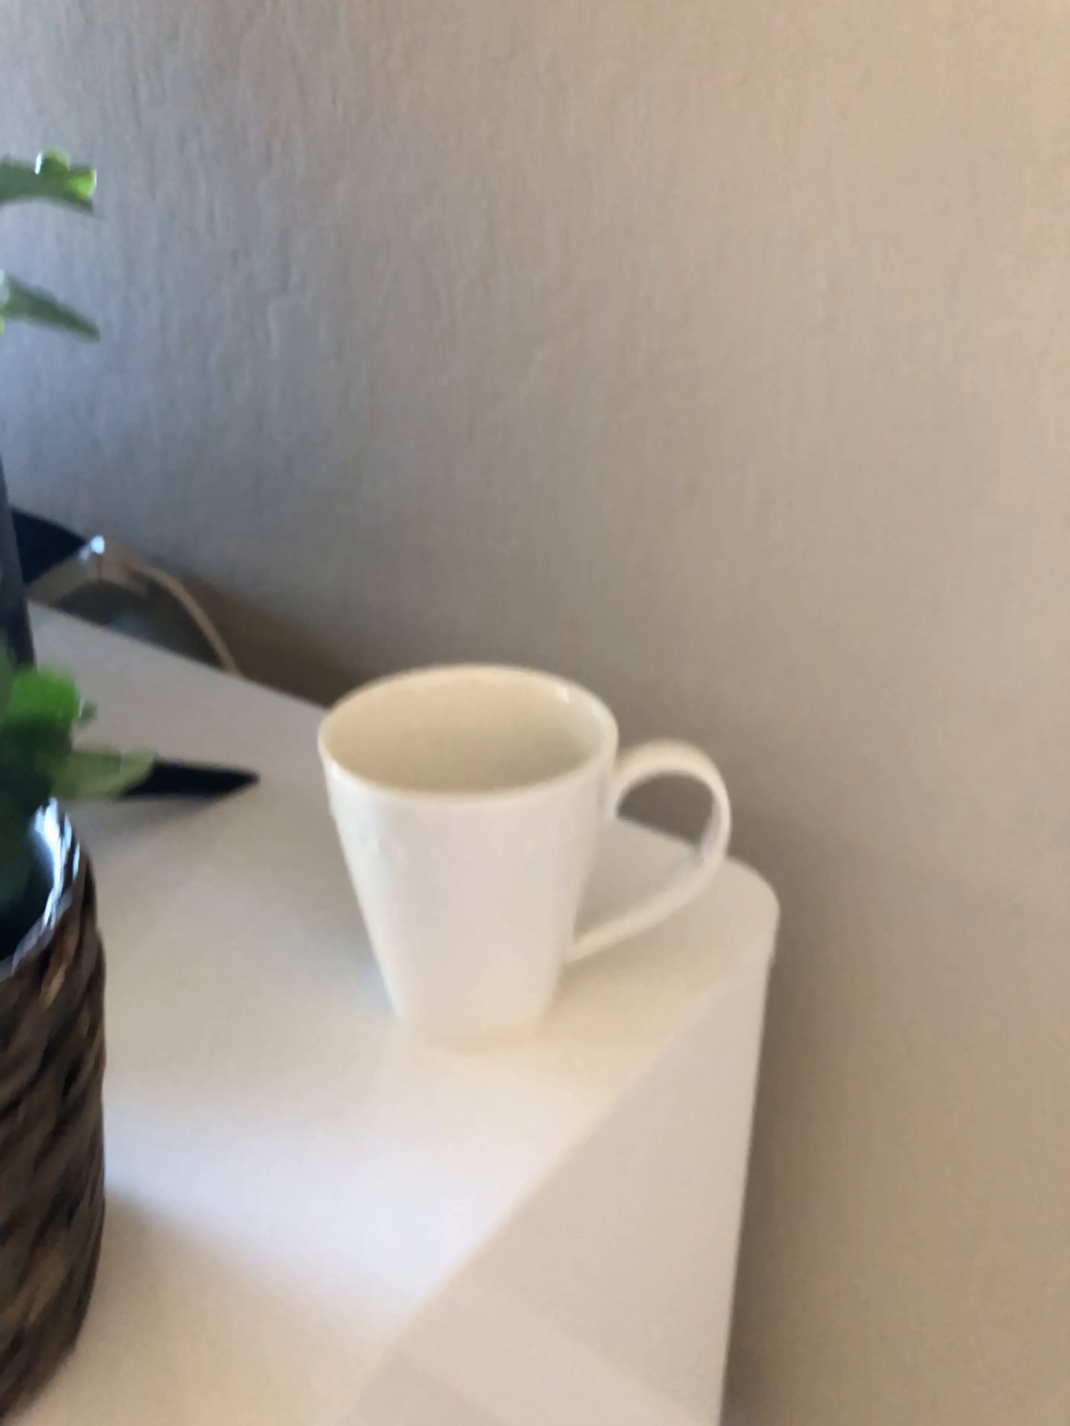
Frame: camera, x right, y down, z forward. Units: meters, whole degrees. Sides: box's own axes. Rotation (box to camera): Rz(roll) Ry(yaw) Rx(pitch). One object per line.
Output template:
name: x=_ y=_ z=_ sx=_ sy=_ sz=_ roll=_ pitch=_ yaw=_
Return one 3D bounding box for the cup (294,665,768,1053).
cup: x=-0.002 y=0.044 z=0.391 sx=0.130 sy=0.090 sz=0.090 roll=0 pitch=25 yaw=-1
